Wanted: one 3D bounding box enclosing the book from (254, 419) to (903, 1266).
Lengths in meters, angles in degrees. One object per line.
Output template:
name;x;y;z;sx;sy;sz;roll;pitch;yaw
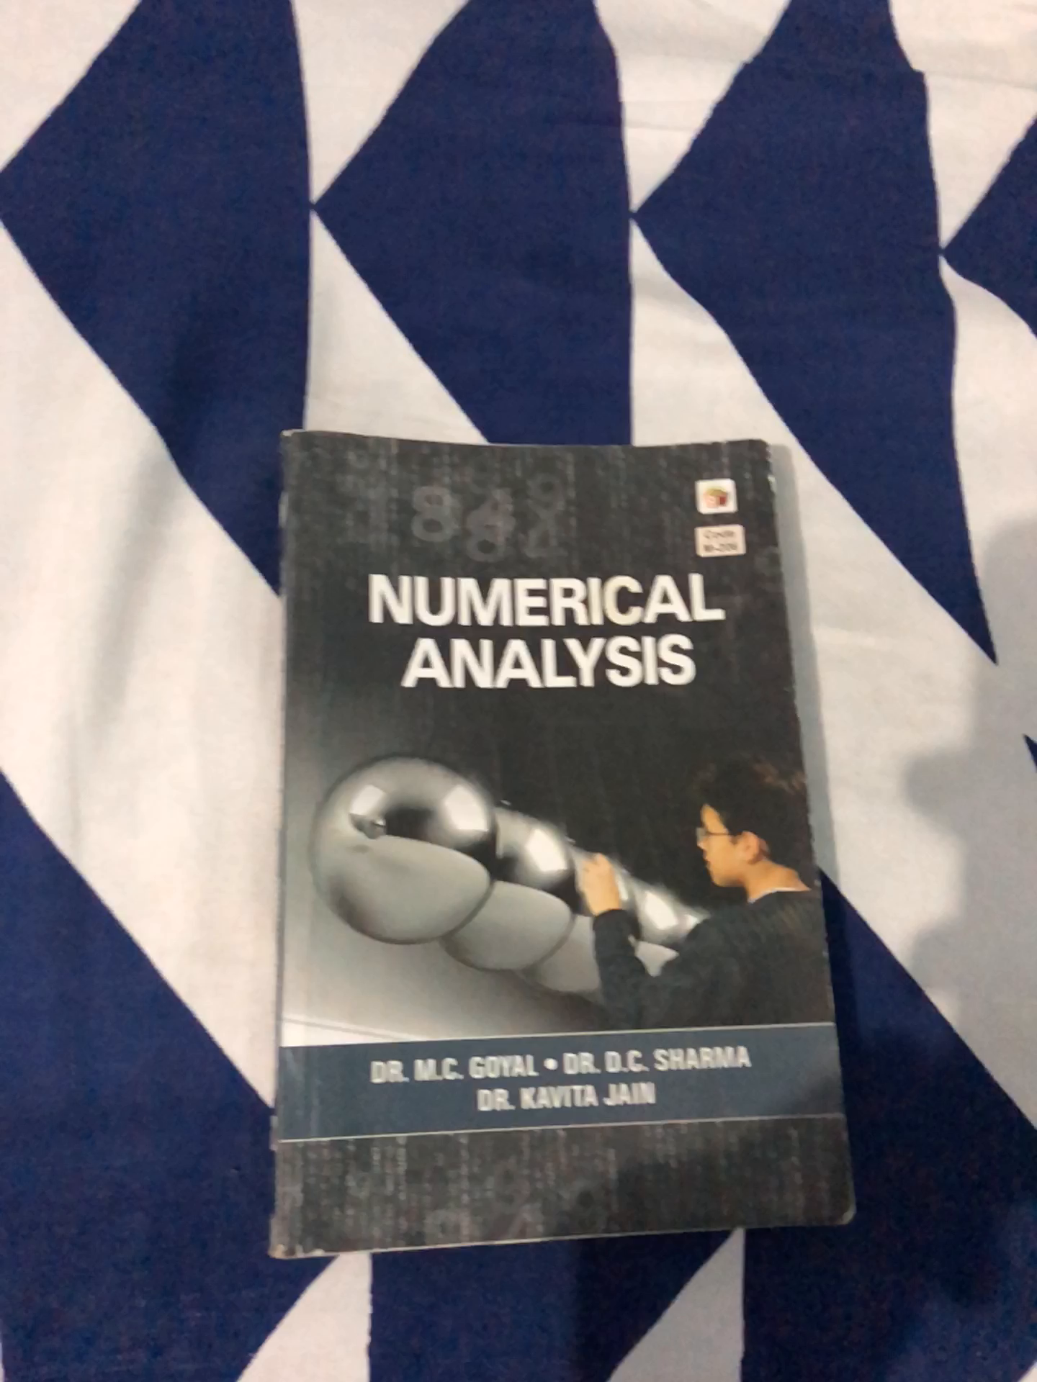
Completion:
book;0.010;0.029;0.283;0.140;0.030;0.190;0;76;-7
